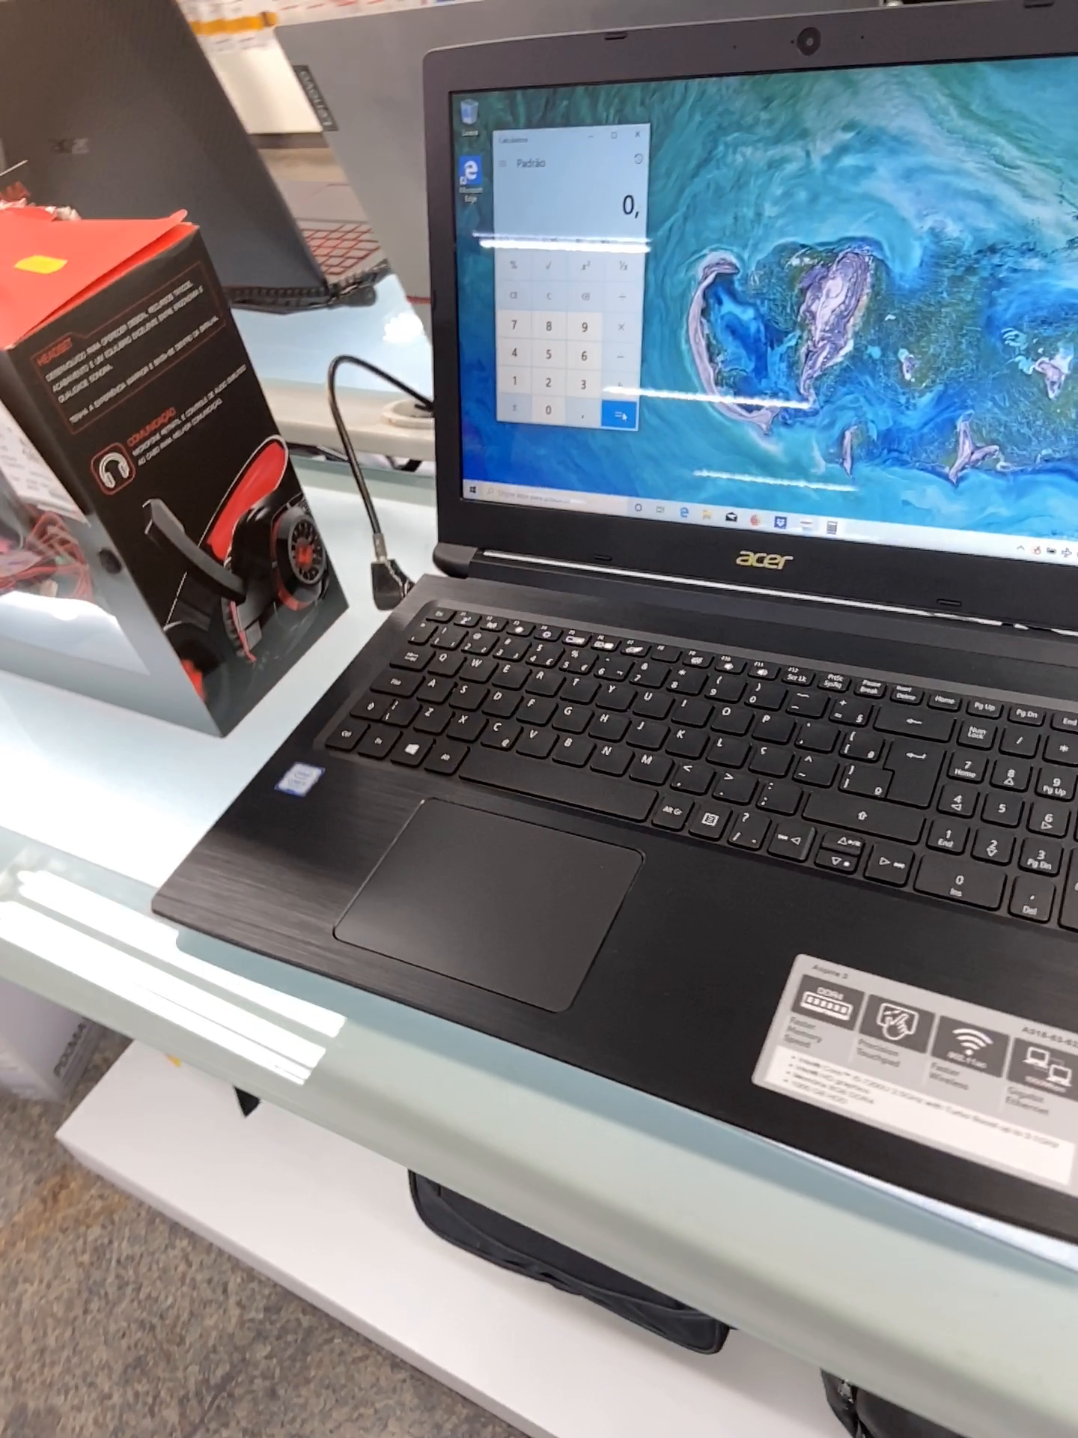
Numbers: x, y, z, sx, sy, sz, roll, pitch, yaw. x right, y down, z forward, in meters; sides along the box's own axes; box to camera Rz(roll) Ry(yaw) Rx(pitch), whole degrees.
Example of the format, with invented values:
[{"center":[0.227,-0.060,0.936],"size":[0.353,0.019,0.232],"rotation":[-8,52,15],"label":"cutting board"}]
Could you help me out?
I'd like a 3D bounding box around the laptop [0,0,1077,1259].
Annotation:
[{"center":[0.054,-0.086,0.416],"size":[0.375,0.227,0.354],"rotation":[12,48,27],"label":"laptop"}]
